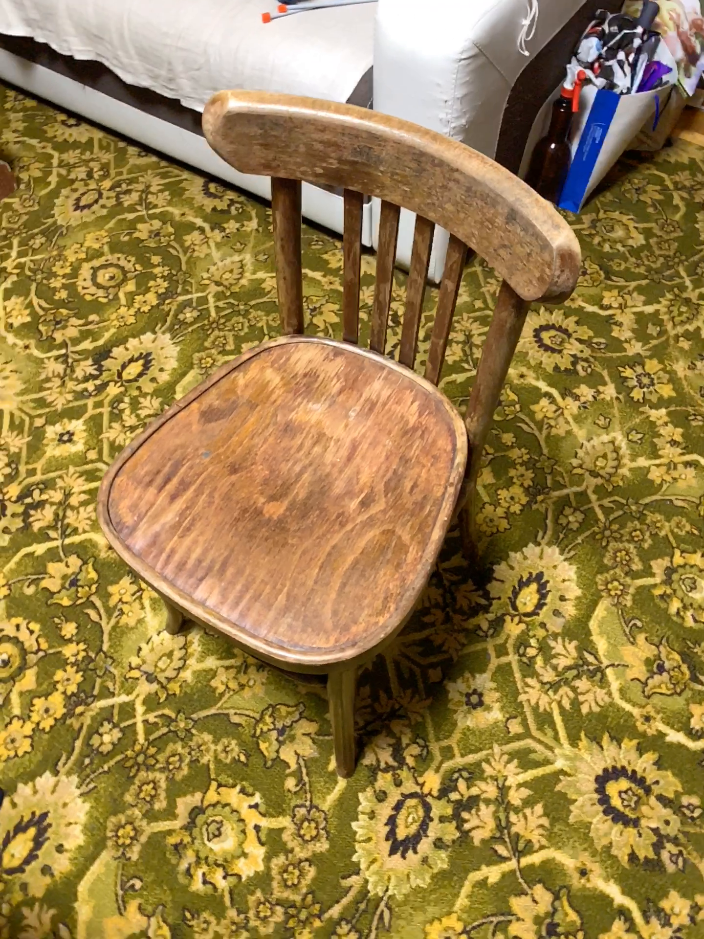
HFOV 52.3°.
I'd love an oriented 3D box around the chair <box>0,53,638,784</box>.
[{"bbox_3d":[-0.047,0.024,0.871,0.400,0.736,0.411,32,65,19],"label":"chair"}]
